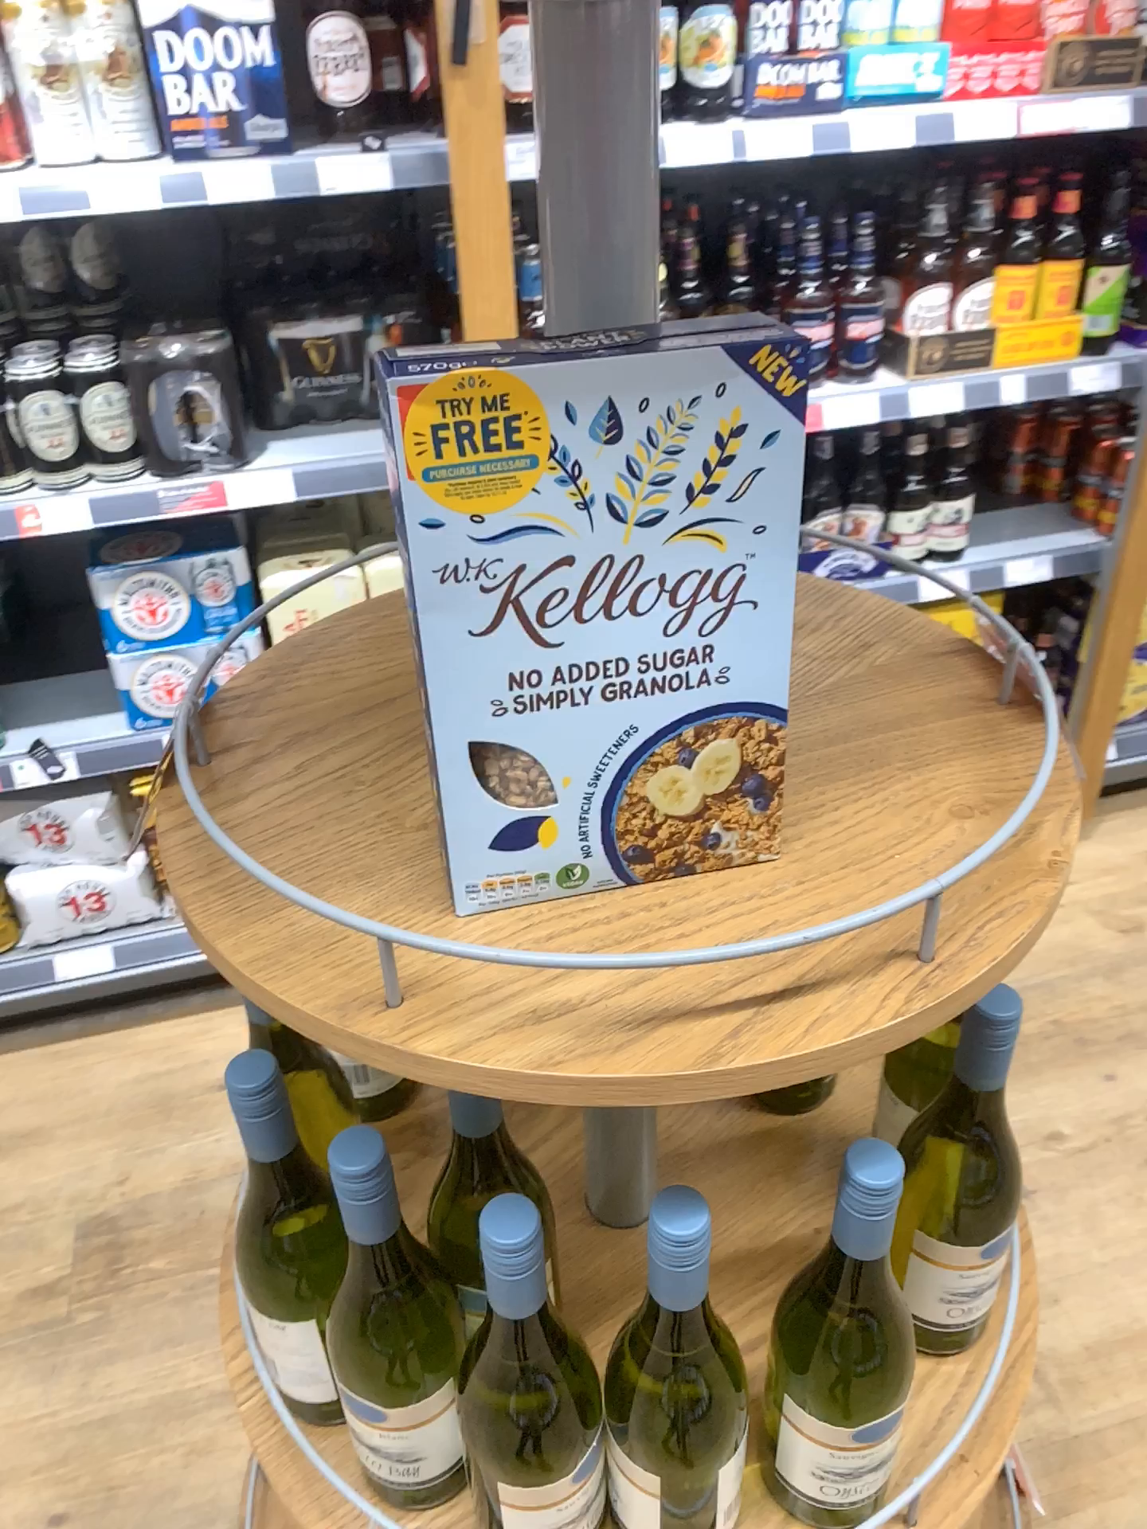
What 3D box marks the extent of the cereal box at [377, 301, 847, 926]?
[{"bbox_3d":[0.018,-0.057,0.508,0.170,0.248,0.050,-9,32,-9],"label":"cereal box"}]
